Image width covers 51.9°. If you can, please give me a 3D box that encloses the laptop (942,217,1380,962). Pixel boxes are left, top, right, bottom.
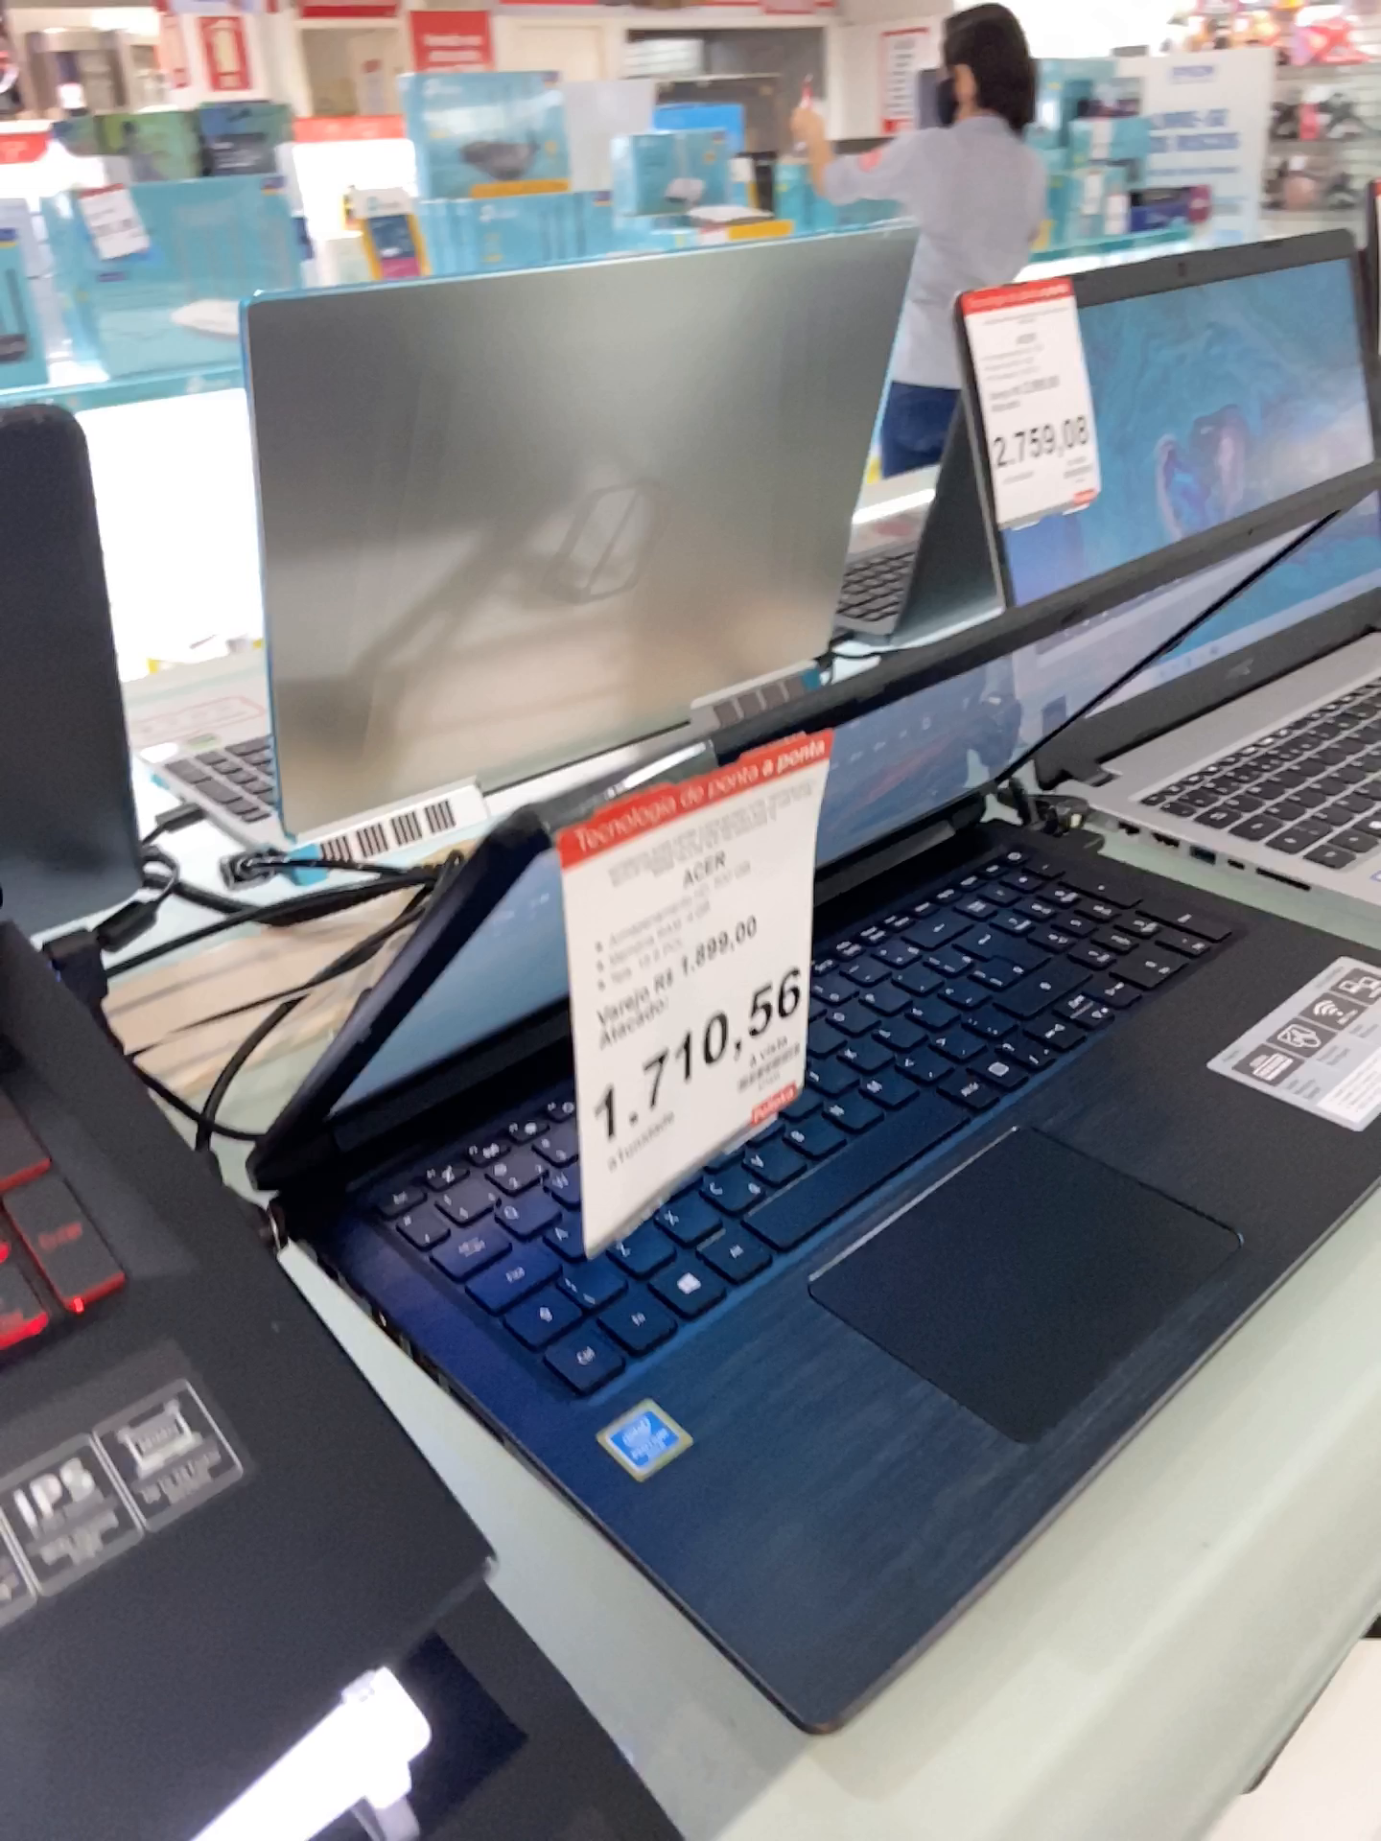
[{"bbox_3d":[0.363,-0.200,0.690,0.363,0.227,0.314,-24,34,-33],"label":"laptop"}]

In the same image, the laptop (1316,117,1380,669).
[{"bbox_3d":[0.676,-0.369,0.937,0.386,0.249,0.300,-25,35,-33],"label":"laptop"}]

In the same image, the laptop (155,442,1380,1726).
[{"bbox_3d":[0.081,-0.015,0.441,0.376,0.169,0.230,-26,36,-35],"label":"laptop"}]
